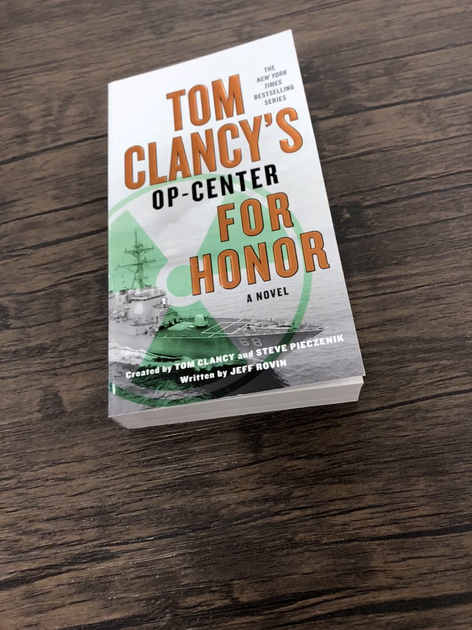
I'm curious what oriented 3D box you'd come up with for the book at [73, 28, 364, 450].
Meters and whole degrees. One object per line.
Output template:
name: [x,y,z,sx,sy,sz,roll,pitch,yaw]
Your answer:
book: [-0.015,-0.042,0.256,0.113,0.040,0.190,-11,65,9]
